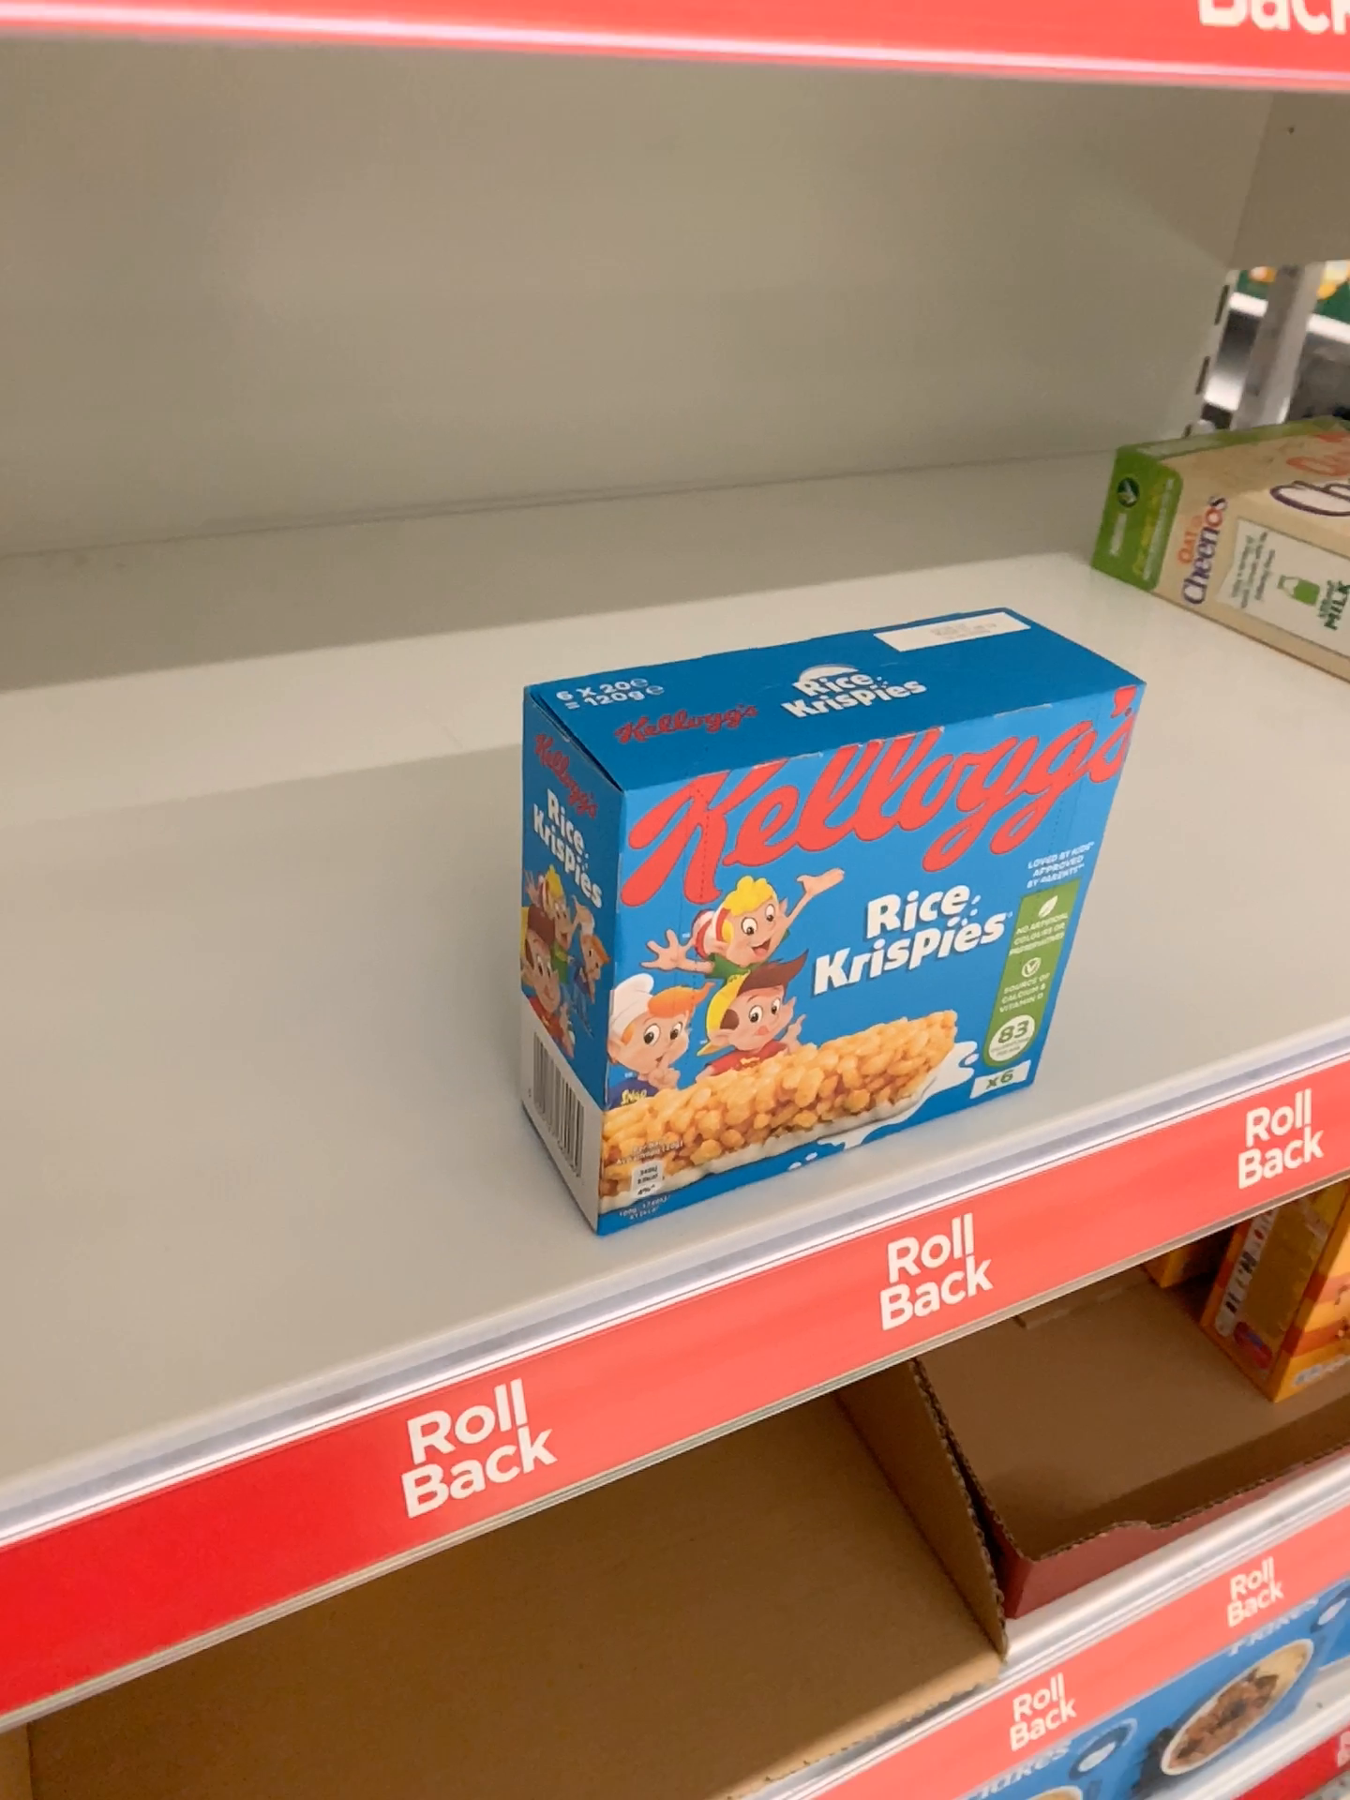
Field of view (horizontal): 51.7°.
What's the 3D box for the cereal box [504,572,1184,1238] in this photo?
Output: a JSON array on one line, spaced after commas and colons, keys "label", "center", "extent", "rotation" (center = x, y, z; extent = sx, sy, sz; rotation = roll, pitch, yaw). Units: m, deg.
[{"label": "cereal box", "center": [0.037, -0.002, 0.347], "extent": [0.150, 0.129, 0.050], "rotation": [-14, 38, -26]}]
